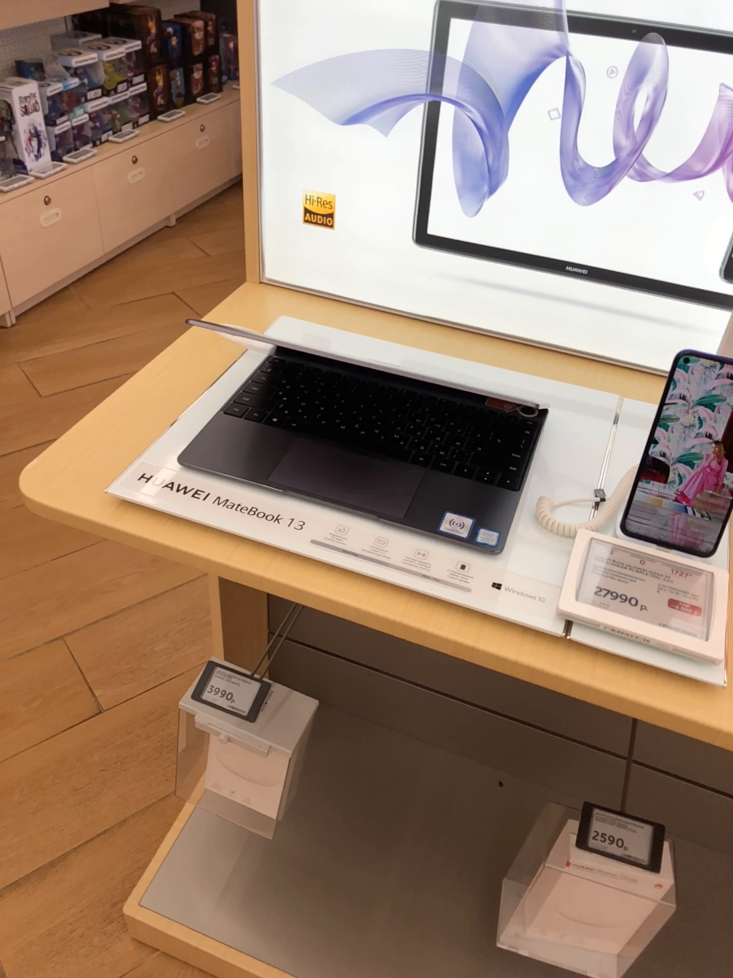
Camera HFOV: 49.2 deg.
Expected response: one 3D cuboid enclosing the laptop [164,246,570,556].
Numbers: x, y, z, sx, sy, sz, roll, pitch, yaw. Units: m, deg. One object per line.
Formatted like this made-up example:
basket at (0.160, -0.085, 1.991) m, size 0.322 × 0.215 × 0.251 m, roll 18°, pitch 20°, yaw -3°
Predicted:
laptop at (0.008, -0.088, 0.679) m, size 0.271 × 0.106 × 0.205 m, roll 17°, pitch 41°, yaw 13°
